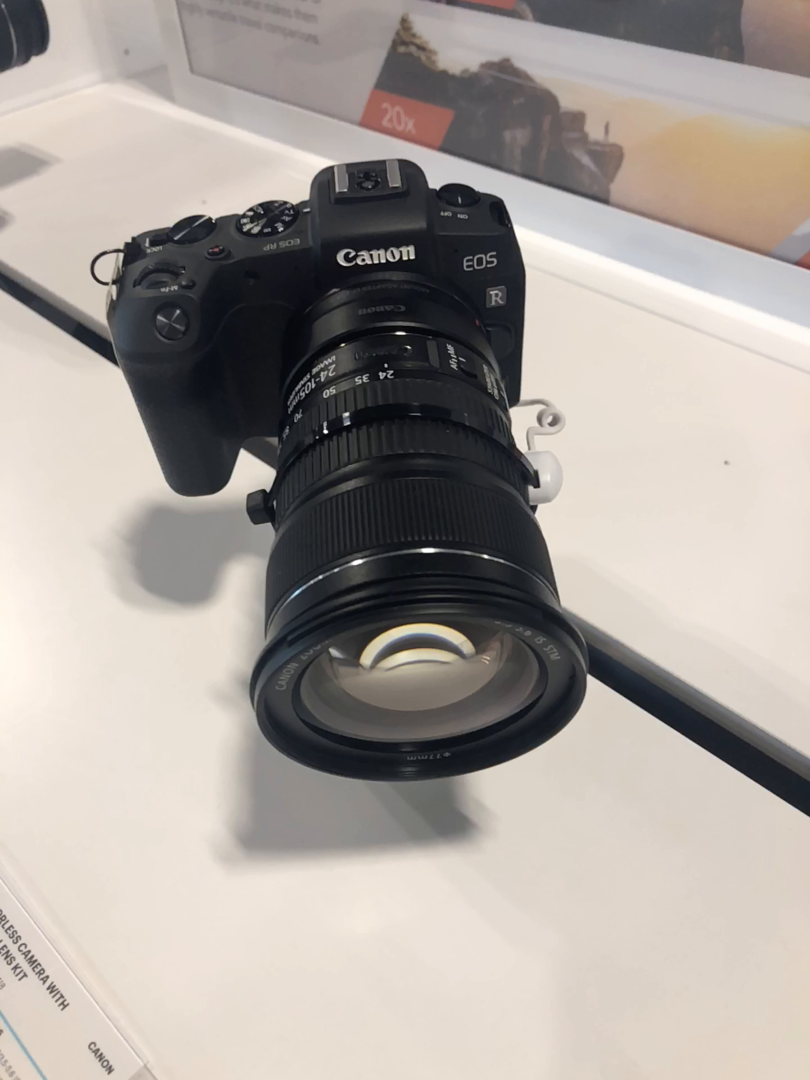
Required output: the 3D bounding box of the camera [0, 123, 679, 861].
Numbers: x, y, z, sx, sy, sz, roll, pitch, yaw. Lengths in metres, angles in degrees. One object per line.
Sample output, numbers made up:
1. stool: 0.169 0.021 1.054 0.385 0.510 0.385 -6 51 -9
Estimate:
1. camera: -0.027 -0.029 0.257 0.136 0.089 0.191 -7 47 -3
